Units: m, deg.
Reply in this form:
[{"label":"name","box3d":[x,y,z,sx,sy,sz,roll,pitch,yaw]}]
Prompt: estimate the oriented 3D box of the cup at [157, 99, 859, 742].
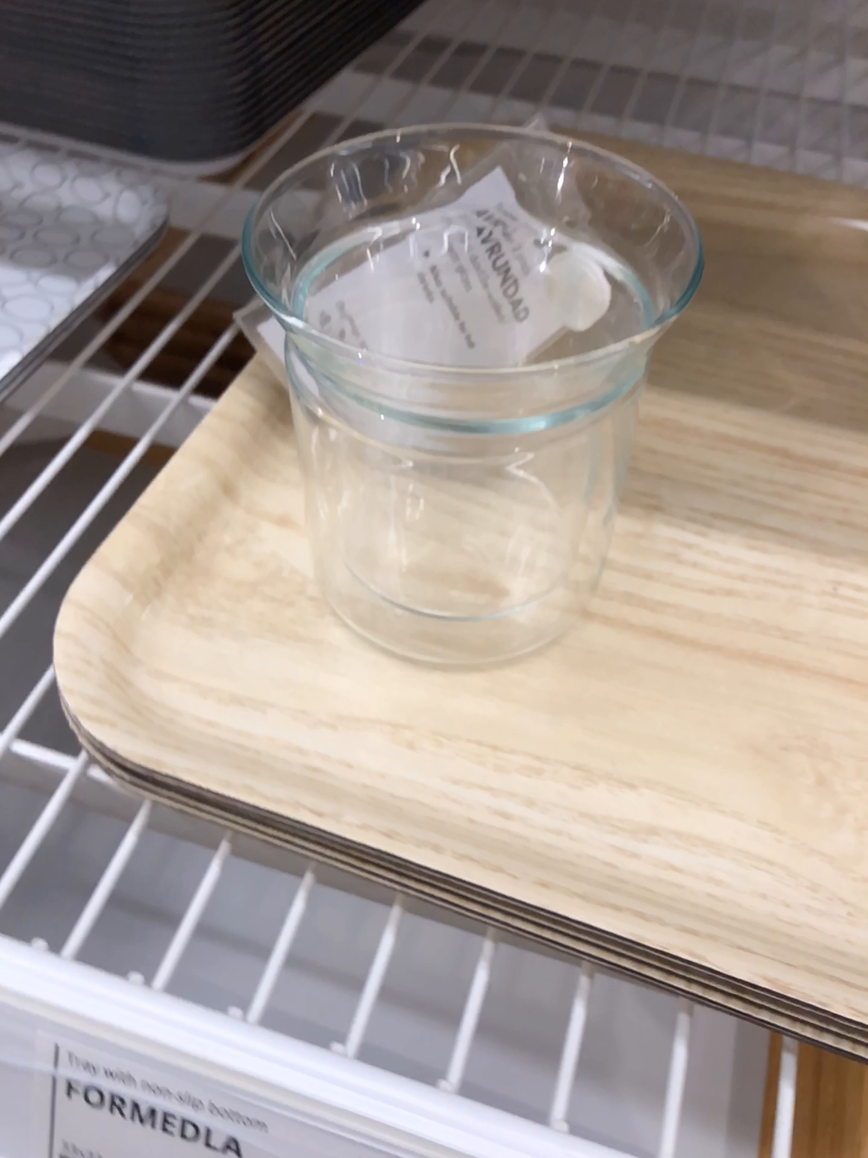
[{"label":"cup","box3d":[0.006,-0.037,0.206,0.100,0.080,0.090,-13,50,-15]}]
